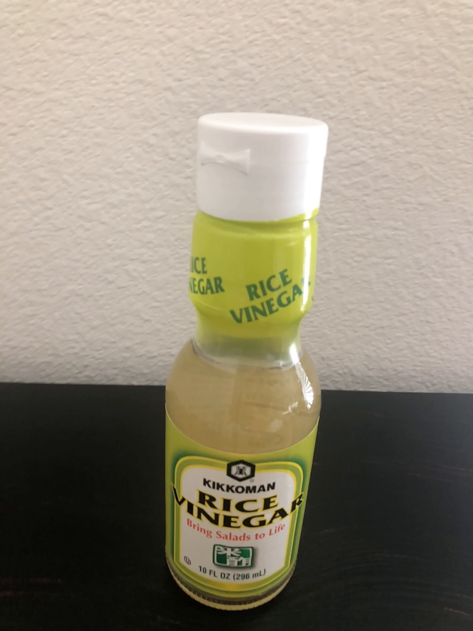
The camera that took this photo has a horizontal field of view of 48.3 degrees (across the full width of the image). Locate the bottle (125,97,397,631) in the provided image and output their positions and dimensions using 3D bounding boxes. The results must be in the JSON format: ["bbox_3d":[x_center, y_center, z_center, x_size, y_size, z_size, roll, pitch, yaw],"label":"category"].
[{"bbox_3d":[0.005,0.025,0.208,0.070,0.199,0.070,3,25,-1],"label":"bottle"}]
